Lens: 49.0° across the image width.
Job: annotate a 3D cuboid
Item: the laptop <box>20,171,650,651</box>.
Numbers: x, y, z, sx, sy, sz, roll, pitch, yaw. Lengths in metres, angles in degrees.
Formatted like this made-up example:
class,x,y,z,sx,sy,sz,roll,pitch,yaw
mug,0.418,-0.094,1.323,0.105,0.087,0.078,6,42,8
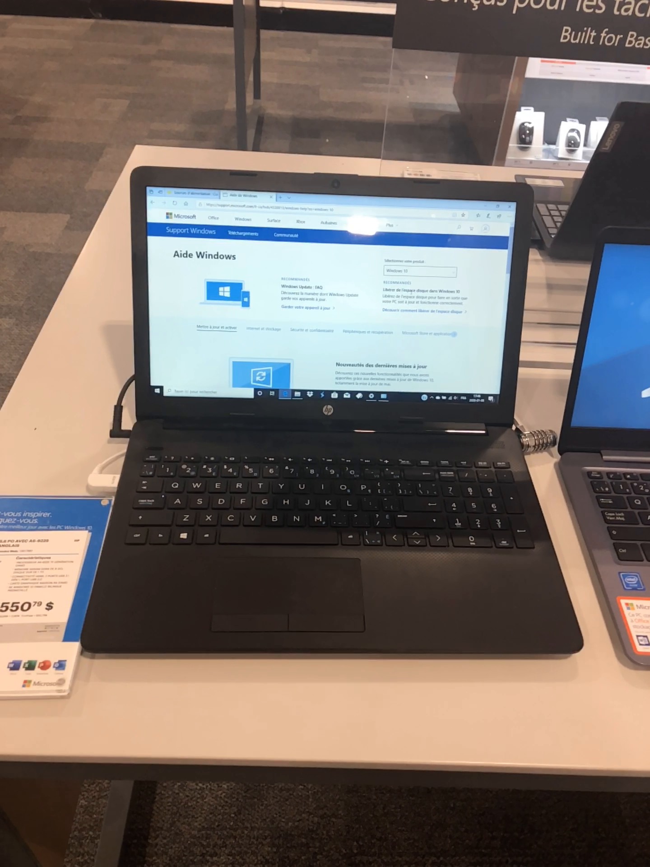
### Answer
class,x,y,z,sx,sy,sz,roll,pitch,yaw
laptop,0.007,-0.039,0.579,0.356,0.195,0.361,1,42,-2
